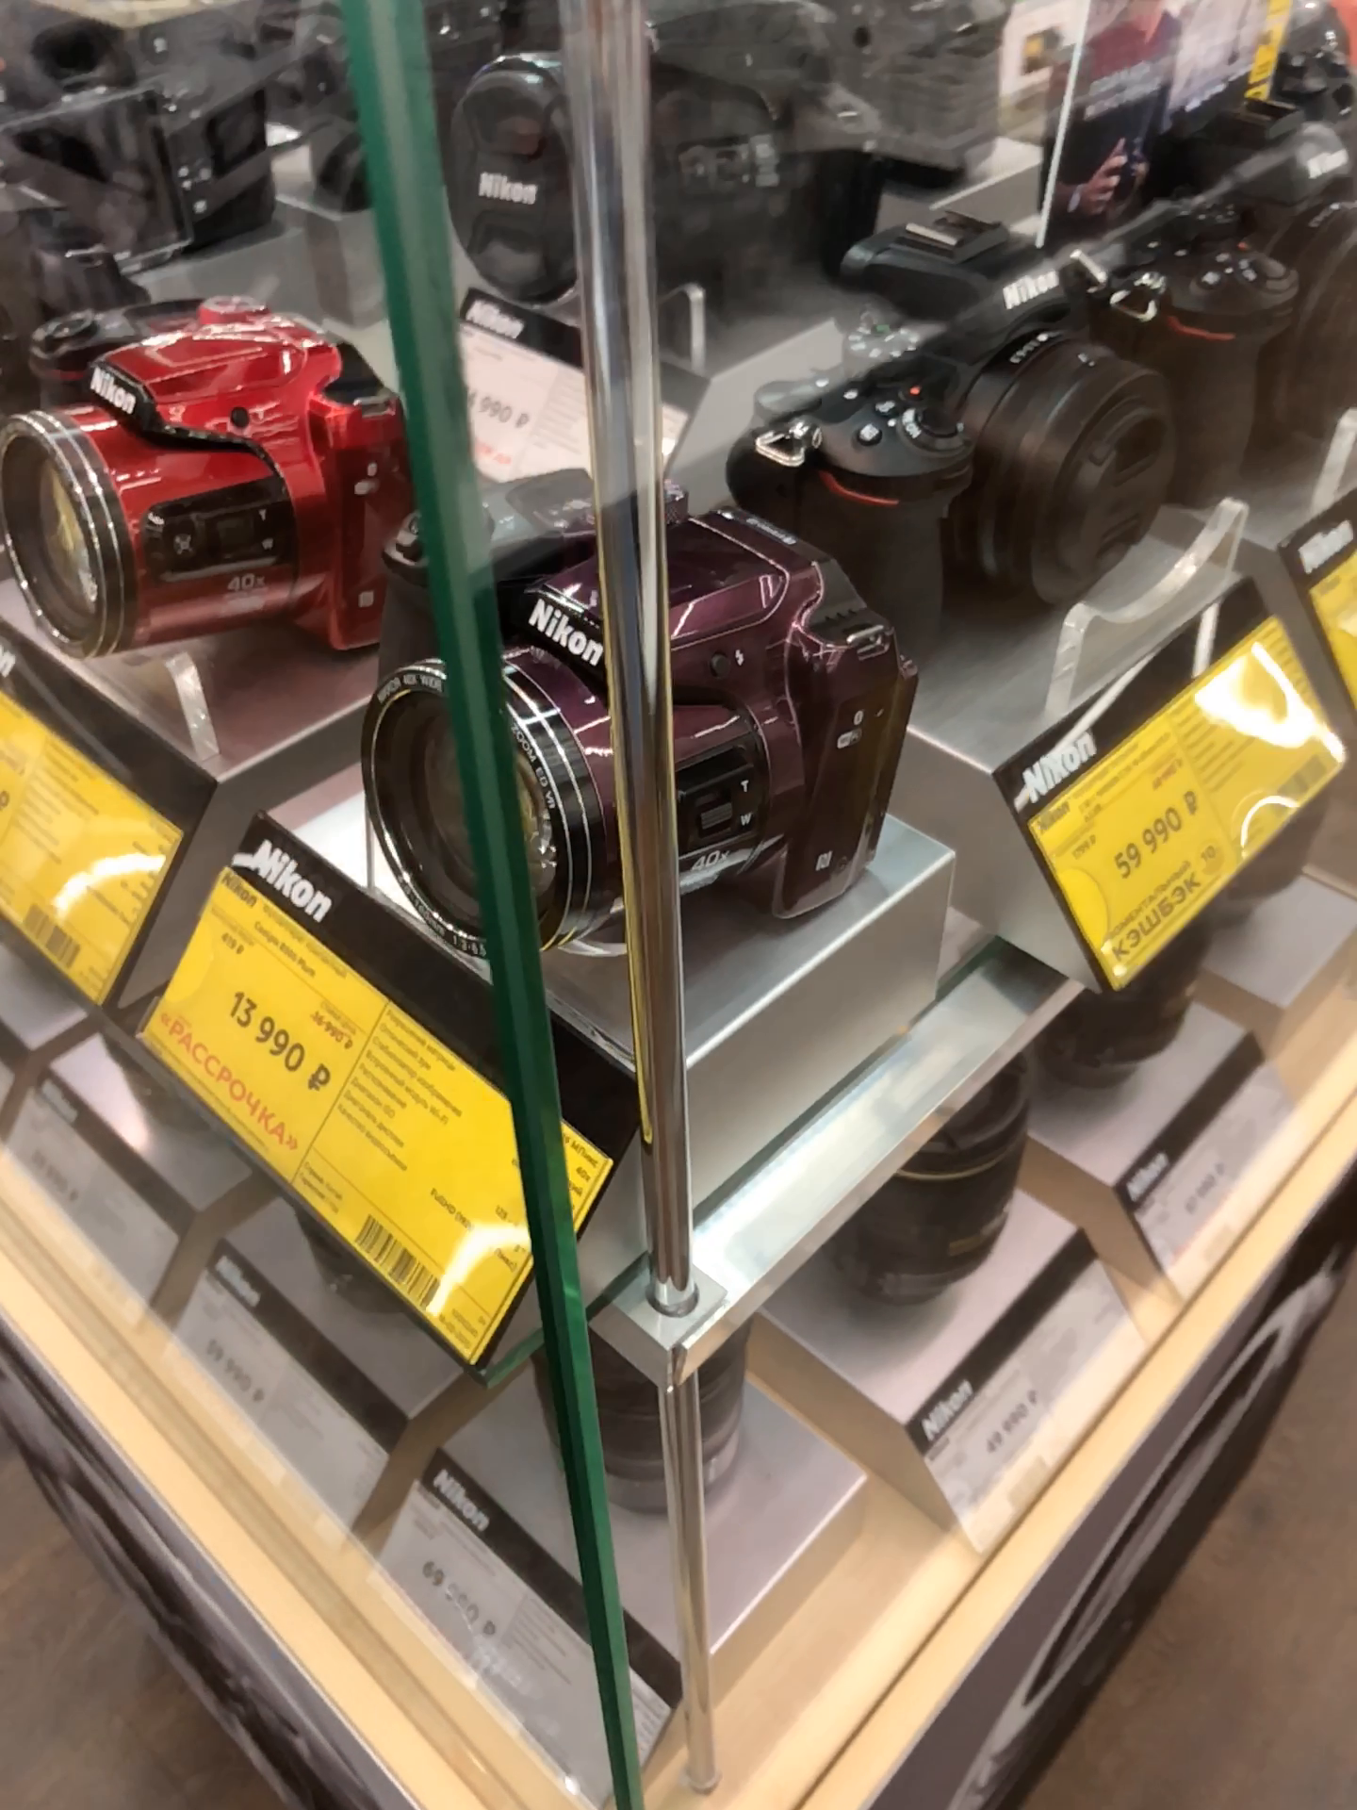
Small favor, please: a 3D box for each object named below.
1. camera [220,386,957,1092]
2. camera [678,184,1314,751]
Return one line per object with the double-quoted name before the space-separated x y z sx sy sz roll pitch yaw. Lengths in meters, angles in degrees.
"camera" -0.019 -0.043 0.329 0.100 0.080 0.110 -33 52 -30
"camera" 0.083 -0.126 0.415 0.133 0.084 0.100 -33 52 -30
